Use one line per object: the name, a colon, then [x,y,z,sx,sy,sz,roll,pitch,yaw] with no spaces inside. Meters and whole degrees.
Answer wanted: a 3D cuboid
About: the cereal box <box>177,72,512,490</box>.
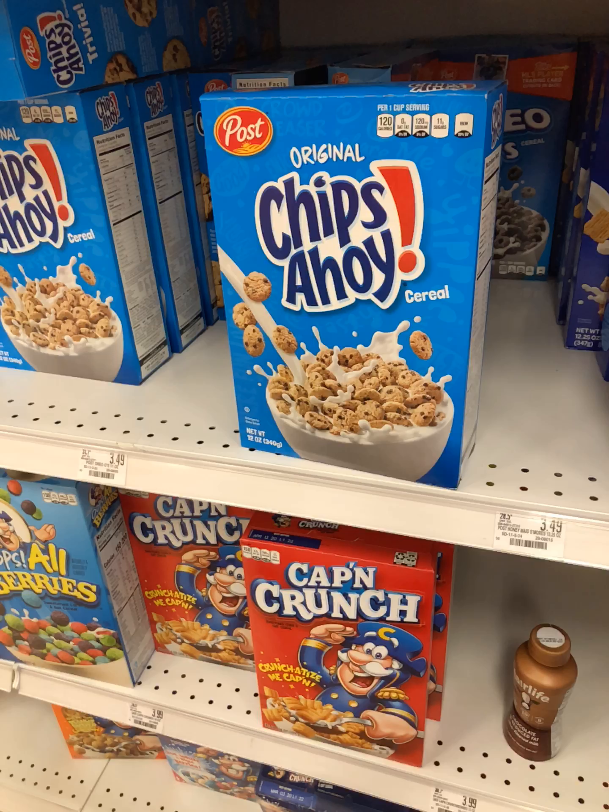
cereal box: [0.029,-0.088,0.477,0.190,0.259,0.080,10,31,22]
